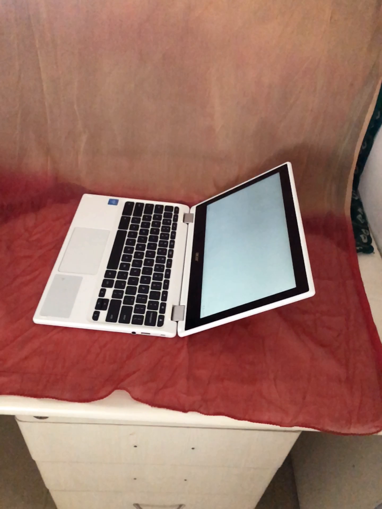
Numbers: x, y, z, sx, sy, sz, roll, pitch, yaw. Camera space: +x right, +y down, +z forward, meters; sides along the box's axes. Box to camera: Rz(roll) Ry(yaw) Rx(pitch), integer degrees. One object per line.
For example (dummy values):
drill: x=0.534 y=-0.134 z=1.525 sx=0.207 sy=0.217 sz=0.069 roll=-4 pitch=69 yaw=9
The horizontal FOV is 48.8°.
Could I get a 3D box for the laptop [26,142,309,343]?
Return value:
laptop: x=-0.025 y=-0.031 z=0.630 sx=0.337 sy=0.112 sz=0.265 roll=6 pitch=45 yaw=0
